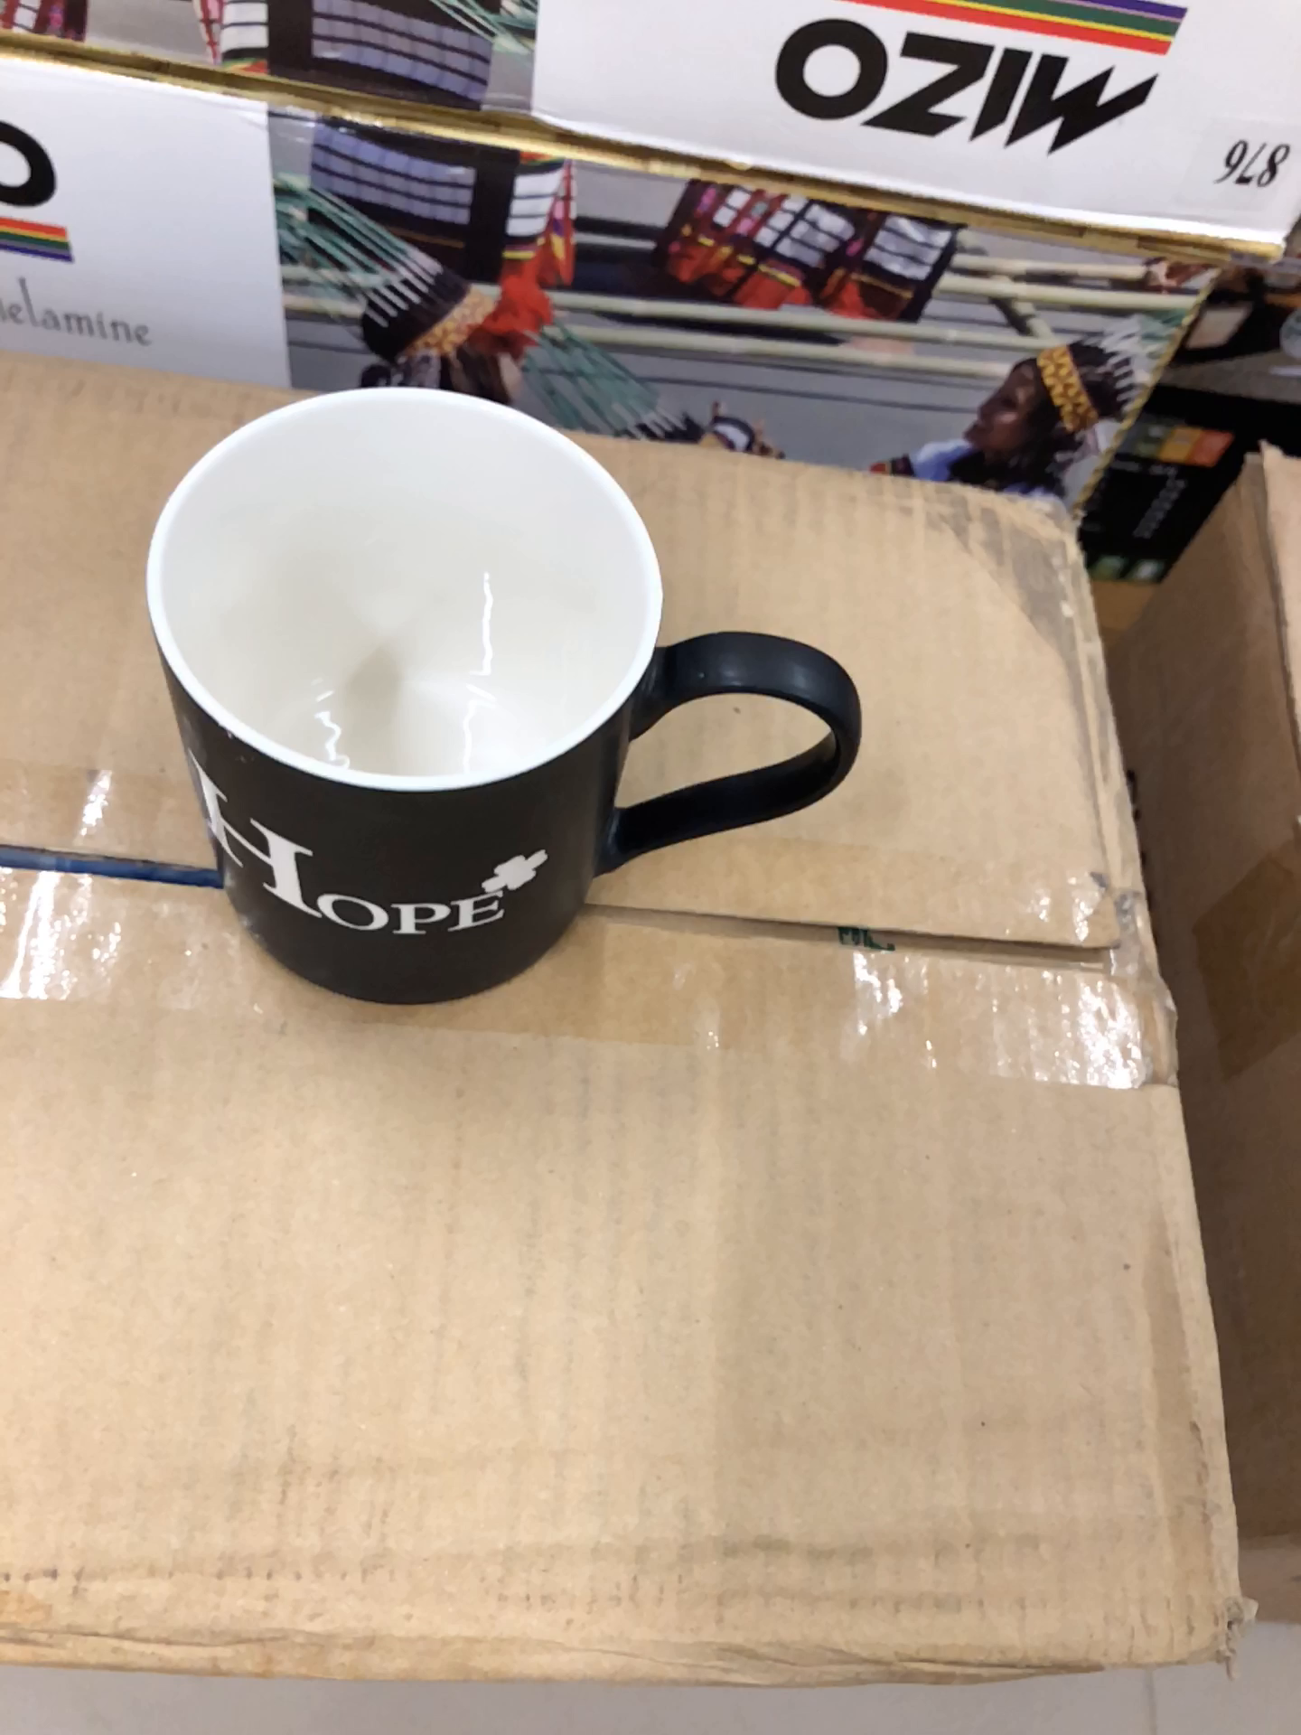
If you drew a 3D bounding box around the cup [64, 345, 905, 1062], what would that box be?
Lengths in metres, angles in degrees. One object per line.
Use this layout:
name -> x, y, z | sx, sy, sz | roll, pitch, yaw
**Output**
cup -> -0.029, -0.023, 0.269 | 0.120, 0.090, 0.090 | 3, 62, -9
